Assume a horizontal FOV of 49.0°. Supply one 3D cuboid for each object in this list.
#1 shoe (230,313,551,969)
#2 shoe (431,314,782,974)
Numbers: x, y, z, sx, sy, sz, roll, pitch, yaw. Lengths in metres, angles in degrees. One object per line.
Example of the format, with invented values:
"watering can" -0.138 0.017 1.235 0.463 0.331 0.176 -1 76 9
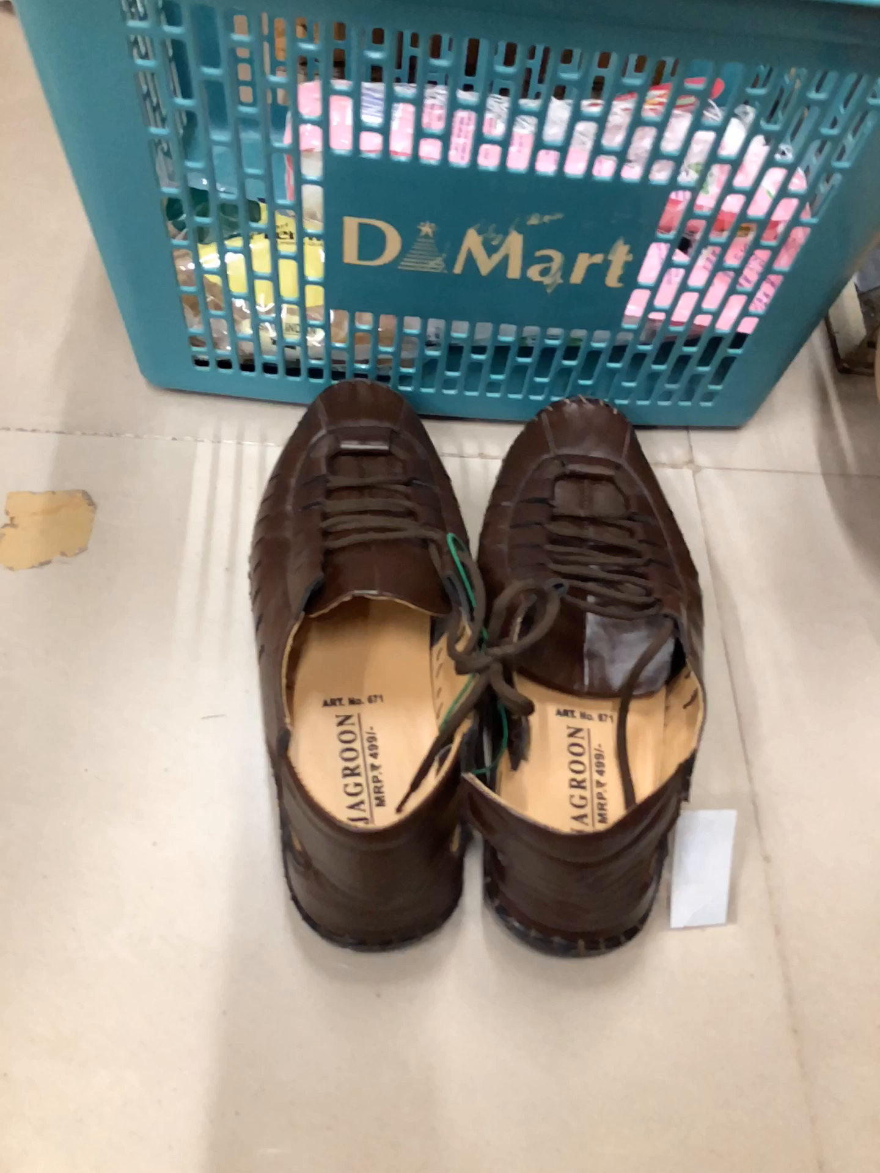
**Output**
"shoe" -0.033 0.013 0.432 0.107 0.101 0.273 -2 59 -7
"shoe" 0.070 0.017 0.440 0.112 0.101 0.273 8 59 -2
